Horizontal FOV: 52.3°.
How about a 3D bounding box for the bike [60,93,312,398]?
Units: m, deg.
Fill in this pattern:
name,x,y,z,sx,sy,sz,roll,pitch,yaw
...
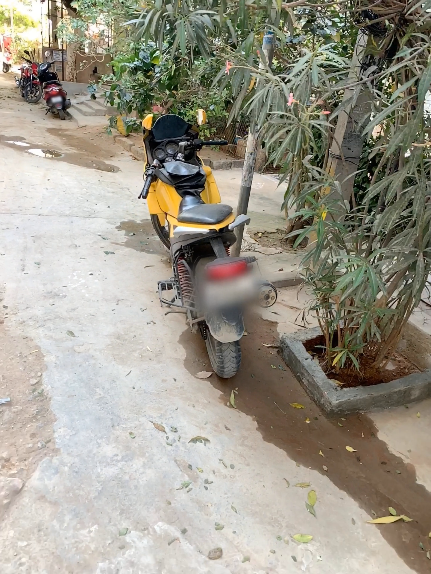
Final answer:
name,x,y,z,sx,sy,sz,roll,pitch,yaw
bike,-0.385,-0.384,2.548,0.853,0.954,1.754,-2,32,-20
